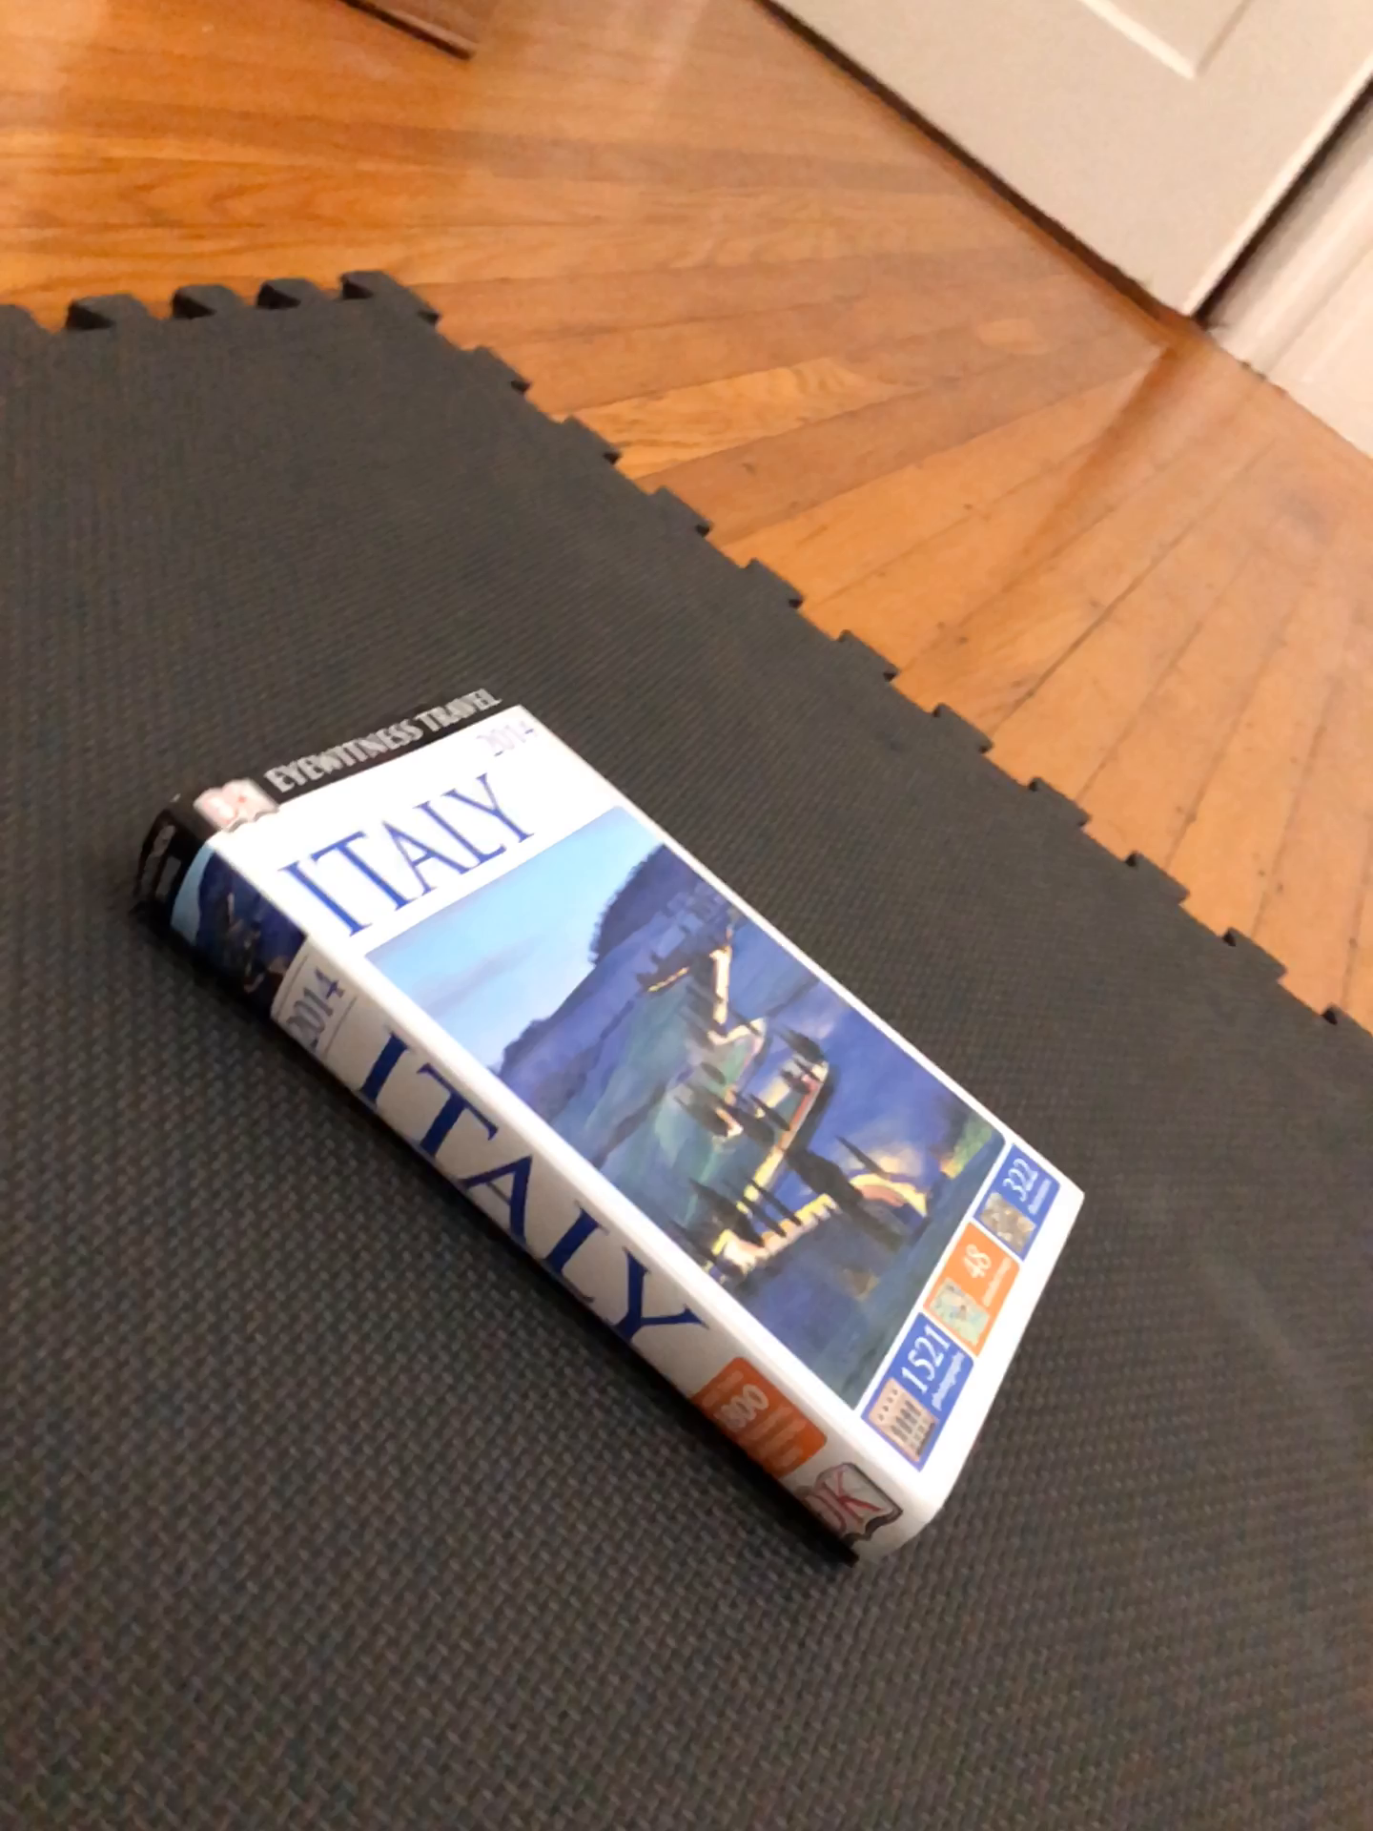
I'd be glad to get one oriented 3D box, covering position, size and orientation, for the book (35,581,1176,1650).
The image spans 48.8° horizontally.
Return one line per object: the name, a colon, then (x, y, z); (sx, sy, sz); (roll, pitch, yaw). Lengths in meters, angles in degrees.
book: (-0.005, 0.025, 0.376); (0.250, 0.040, 0.161); (40, 34, 6)
